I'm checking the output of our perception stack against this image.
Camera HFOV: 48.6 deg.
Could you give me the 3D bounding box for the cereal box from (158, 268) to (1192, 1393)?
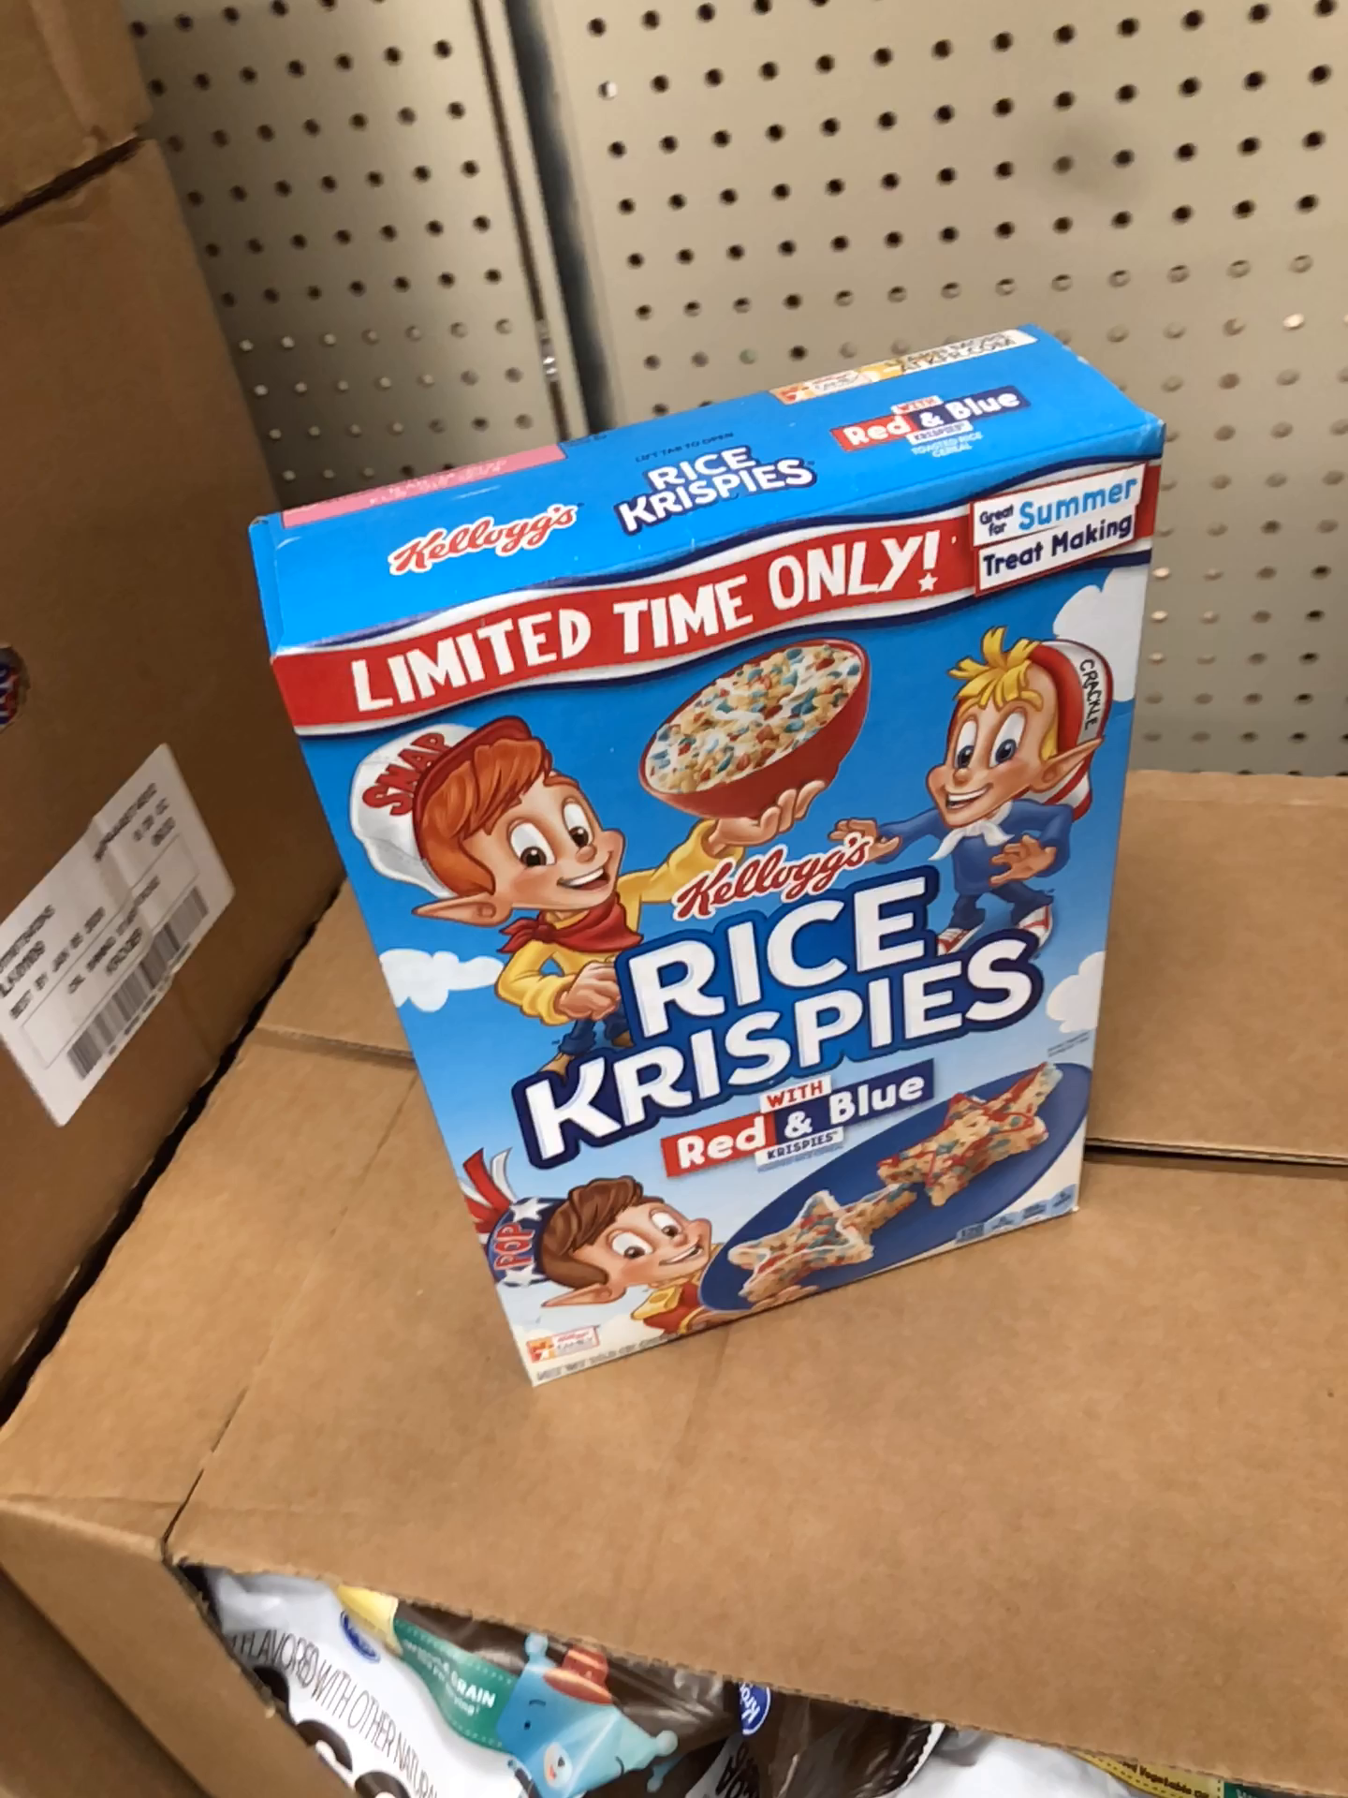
[{"bbox_3d":[0.014,0.006,0.396,0.200,0.279,0.060,-16,44,-7],"label":"cereal box"}]
